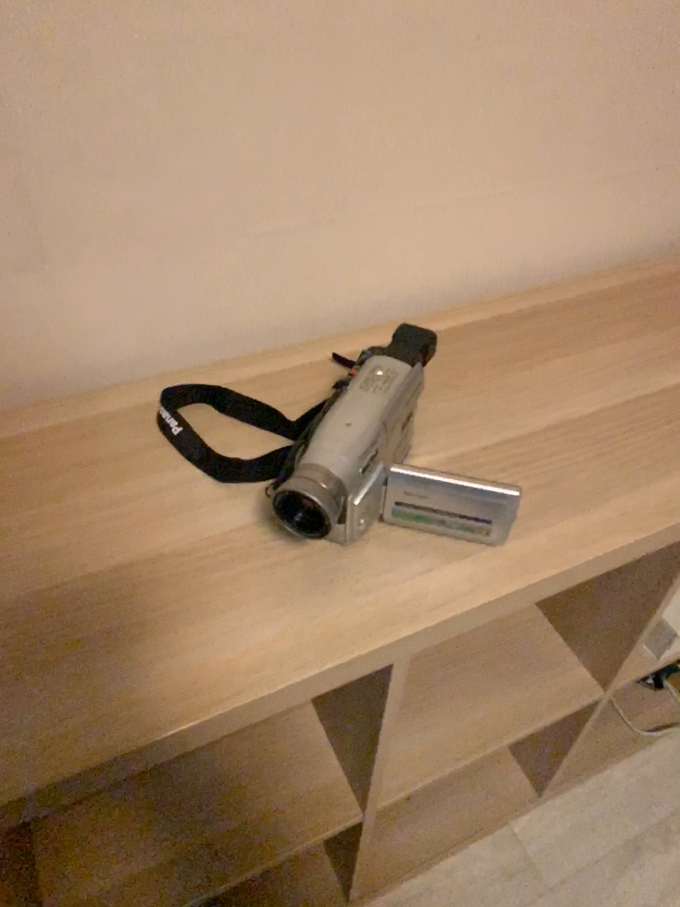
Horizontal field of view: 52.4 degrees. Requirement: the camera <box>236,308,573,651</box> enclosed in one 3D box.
[{"bbox_3d":[0.064,0.003,0.596,0.203,0.109,0.247,18,44,16],"label":"camera"}]
